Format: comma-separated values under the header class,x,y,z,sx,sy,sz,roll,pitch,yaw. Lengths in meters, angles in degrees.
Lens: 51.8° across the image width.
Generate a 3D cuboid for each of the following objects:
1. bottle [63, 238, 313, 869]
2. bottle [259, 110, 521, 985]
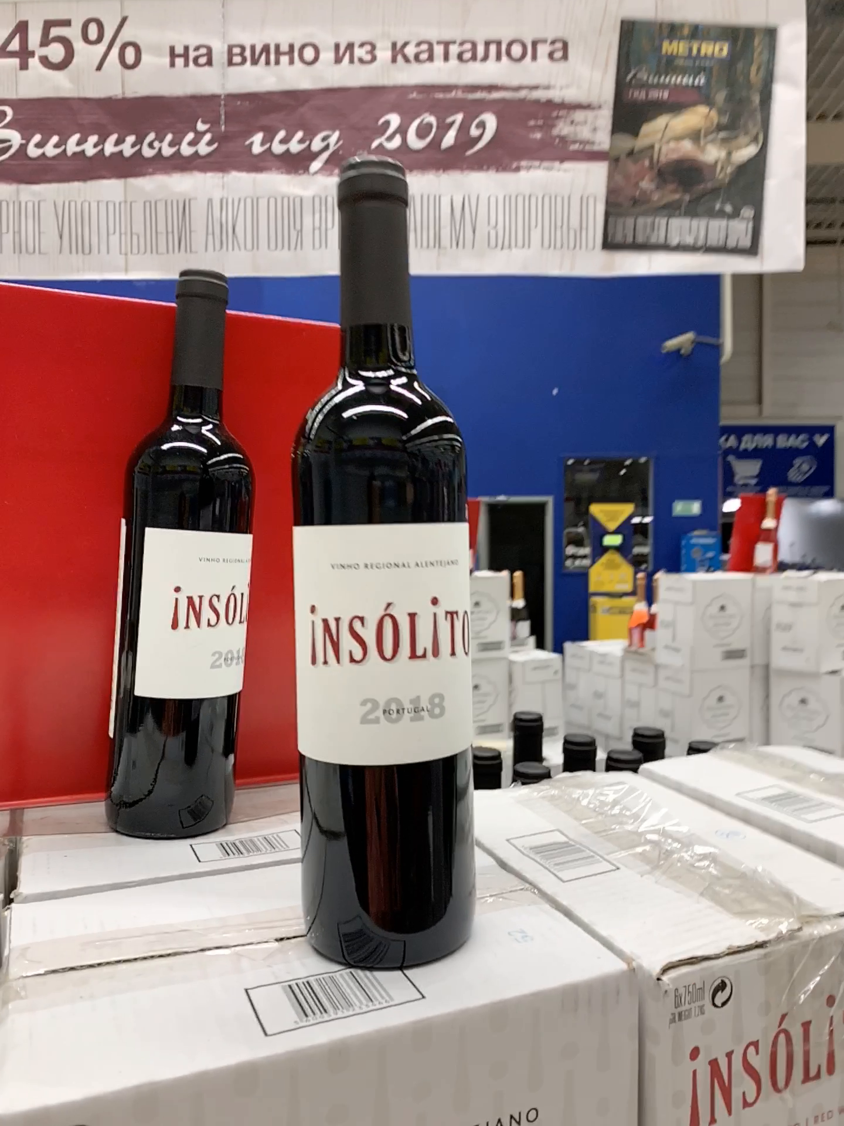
class,x,y,z,sx,sy,sz,roll,pitch,yaw
bottle,-0.137,-0.006,0.502,0.090,0.320,0.090,5,3,0
bottle,-0.018,-0.006,0.364,0.090,0.310,0.090,0,1,0
